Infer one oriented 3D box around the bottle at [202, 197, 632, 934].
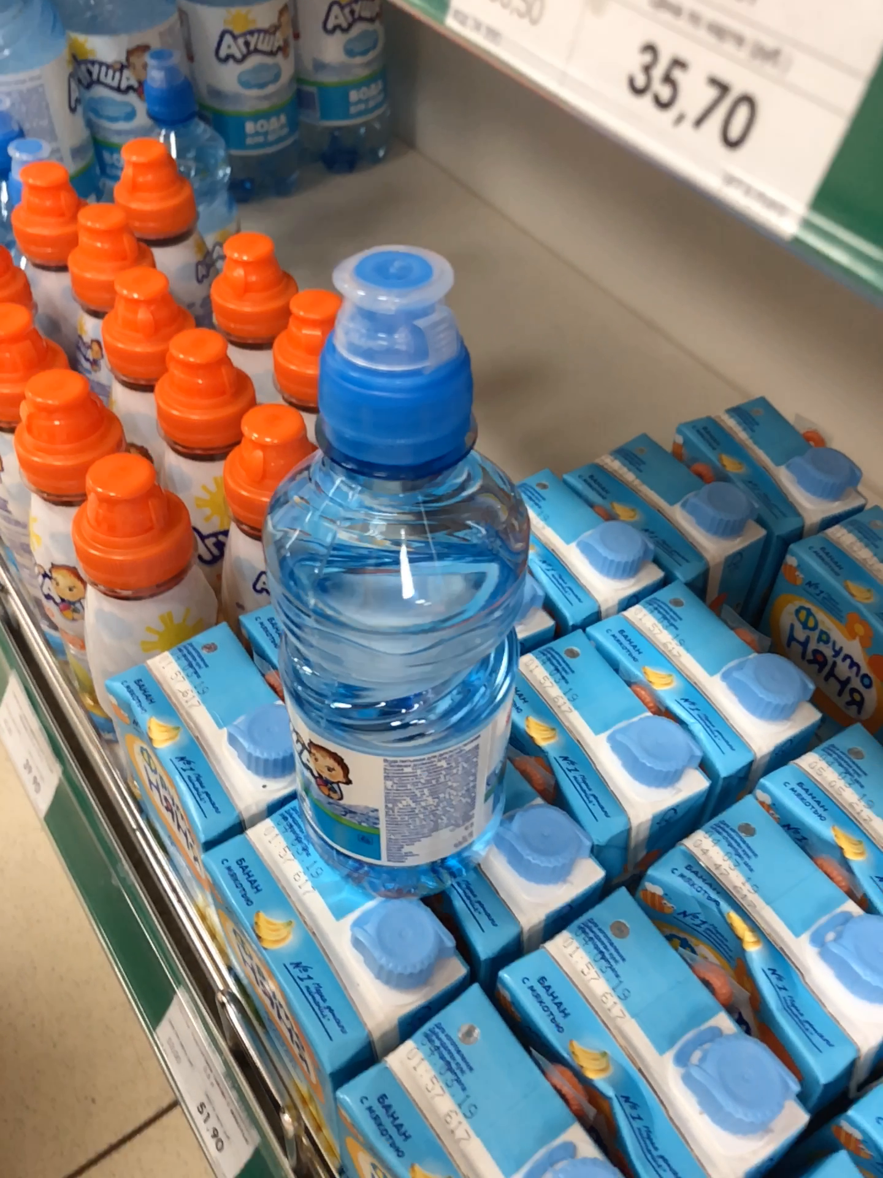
[{"bbox_3d":[-0.009,0.008,0.235,0.056,0.174,0.060,1,47,-1],"label":"bottle"}]
